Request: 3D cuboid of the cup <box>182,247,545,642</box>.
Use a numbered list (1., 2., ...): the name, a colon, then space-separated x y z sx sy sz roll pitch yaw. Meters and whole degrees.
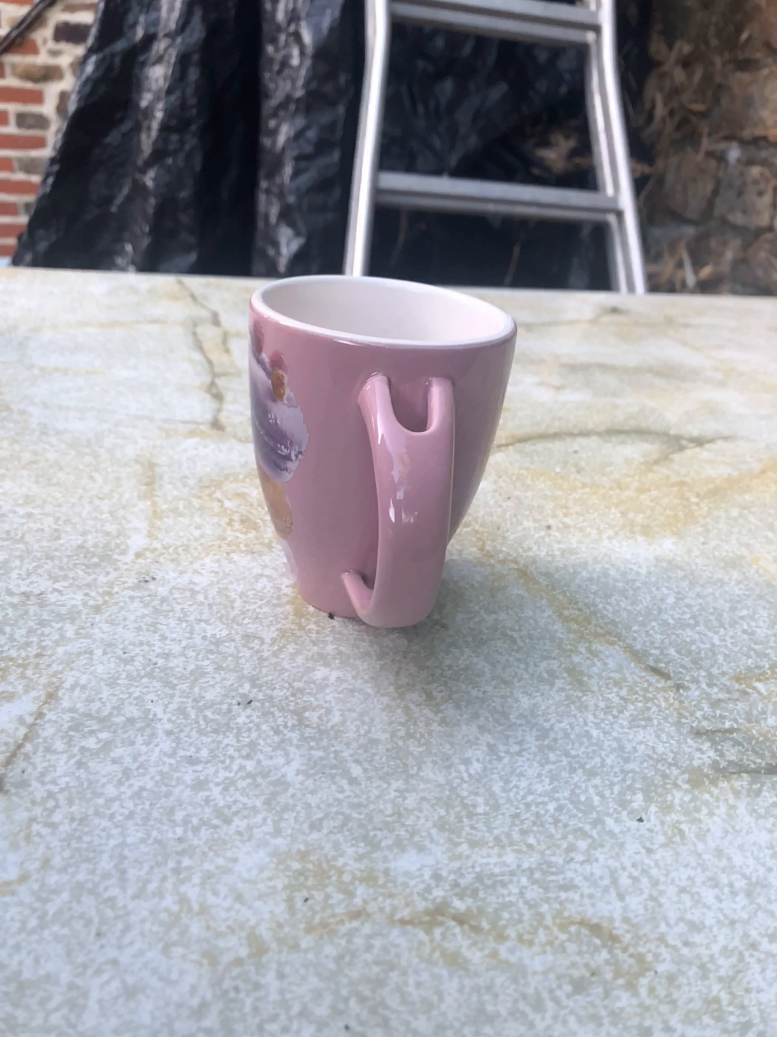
1. cup: -0.011 -0.027 0.251 0.080 0.080 0.099 3 26 -5
